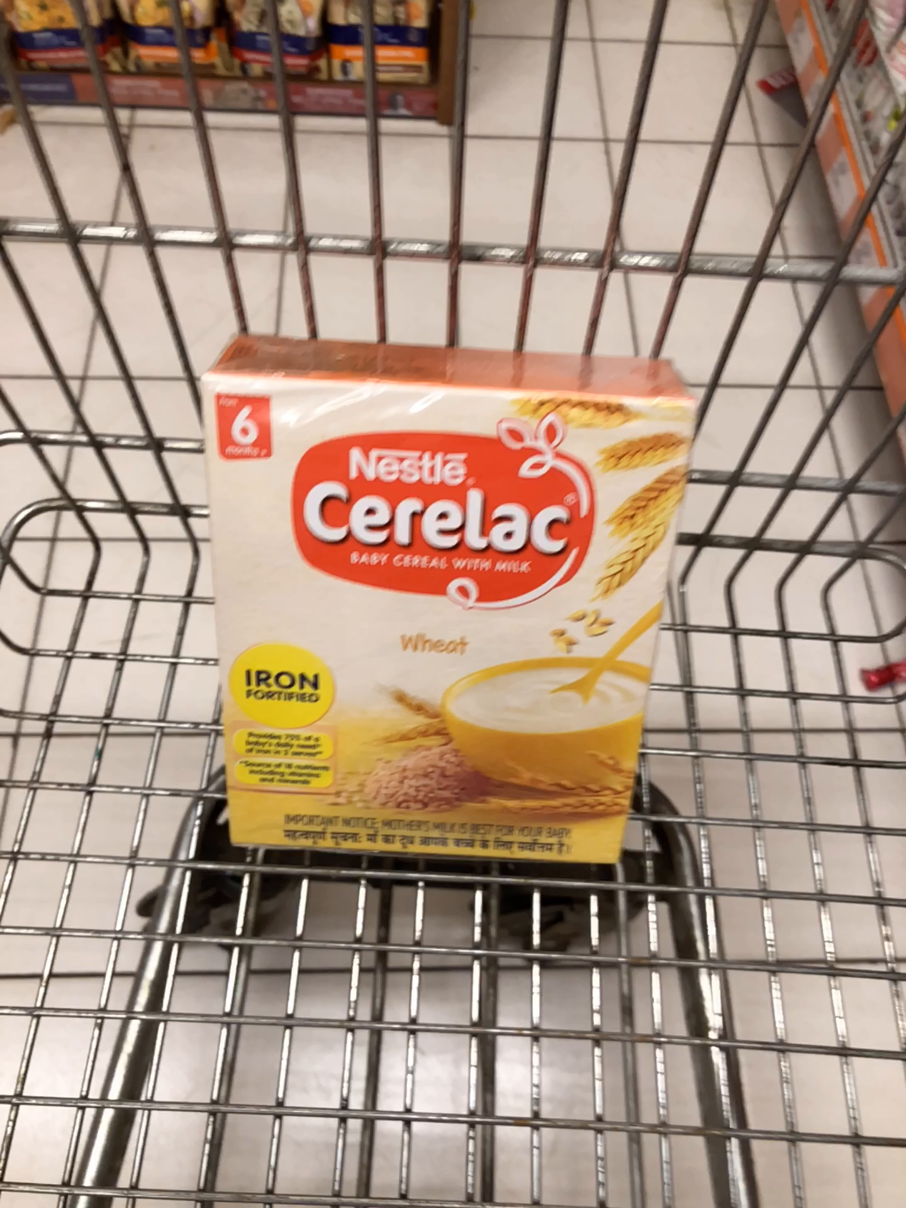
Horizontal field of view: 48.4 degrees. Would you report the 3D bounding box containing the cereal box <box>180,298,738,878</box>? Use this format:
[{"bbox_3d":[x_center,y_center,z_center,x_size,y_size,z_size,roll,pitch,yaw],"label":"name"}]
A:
[{"bbox_3d":[-0.003,0.000,0.333,0.150,0.179,0.050,3,27,-1],"label":"cereal box"}]
